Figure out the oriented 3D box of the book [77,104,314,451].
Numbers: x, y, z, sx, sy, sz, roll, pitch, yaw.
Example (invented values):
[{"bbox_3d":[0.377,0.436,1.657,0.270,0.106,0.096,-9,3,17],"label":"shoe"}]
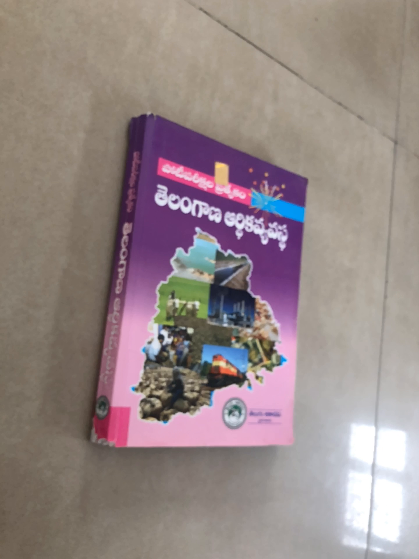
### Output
[{"bbox_3d":[0.002,0.009,0.424,0.192,0.040,0.268,13,80,-34],"label":"book"}]
